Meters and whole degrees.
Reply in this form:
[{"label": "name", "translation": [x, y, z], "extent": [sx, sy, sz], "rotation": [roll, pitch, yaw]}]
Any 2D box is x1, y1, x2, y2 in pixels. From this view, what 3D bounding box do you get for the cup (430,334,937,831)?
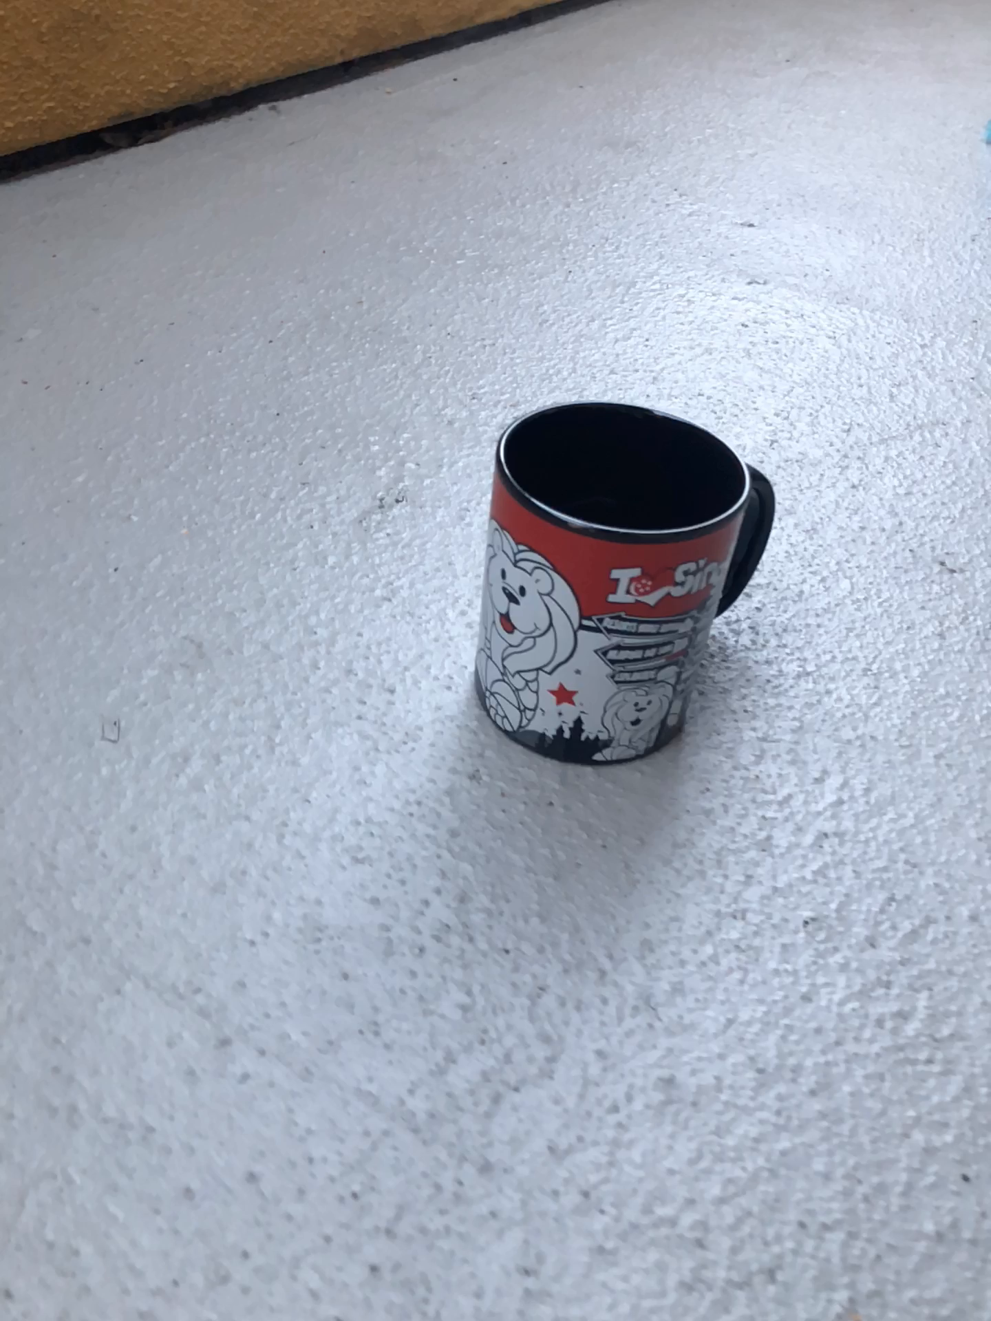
[{"label": "cup", "translation": [0.058, -0.031, 0.370], "extent": [0.130, 0.109, 0.080], "rotation": [-22, 48, -31]}]
